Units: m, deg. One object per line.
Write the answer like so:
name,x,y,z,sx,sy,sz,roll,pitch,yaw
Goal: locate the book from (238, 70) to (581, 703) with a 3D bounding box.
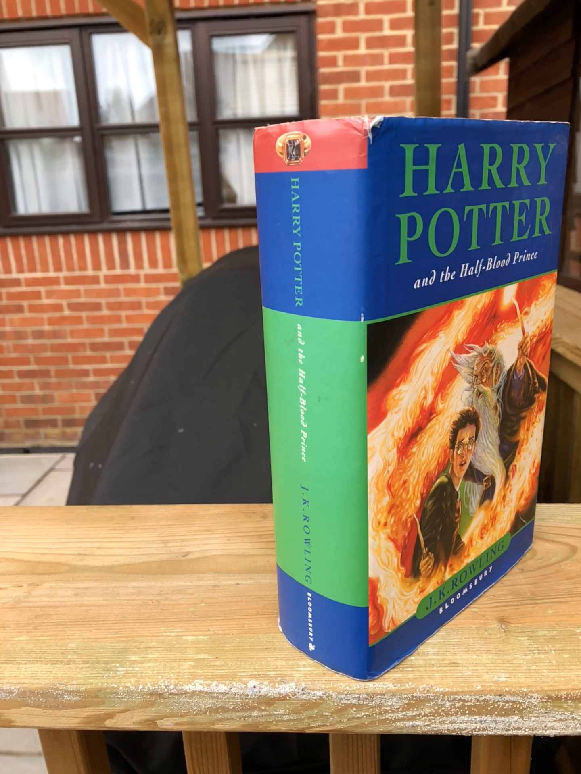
book,0.056,-0.007,0.273,0.140,0.209,0.060,-17,21,-42
